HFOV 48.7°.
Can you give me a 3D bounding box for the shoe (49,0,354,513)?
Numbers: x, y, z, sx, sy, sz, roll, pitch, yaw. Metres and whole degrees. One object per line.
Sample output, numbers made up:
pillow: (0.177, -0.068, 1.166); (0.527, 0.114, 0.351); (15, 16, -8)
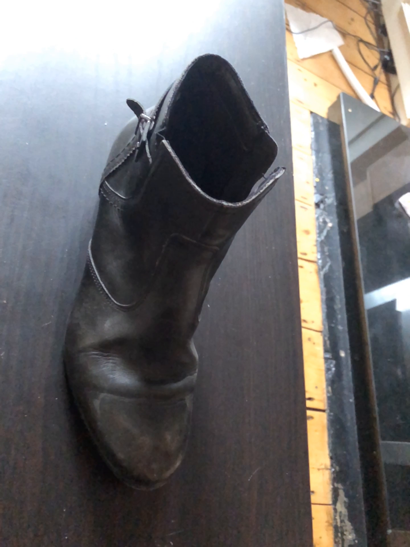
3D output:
shoe: (-0.022, -0.009, 0.290); (0.090, 0.169, 0.271); (10, 64, -27)
